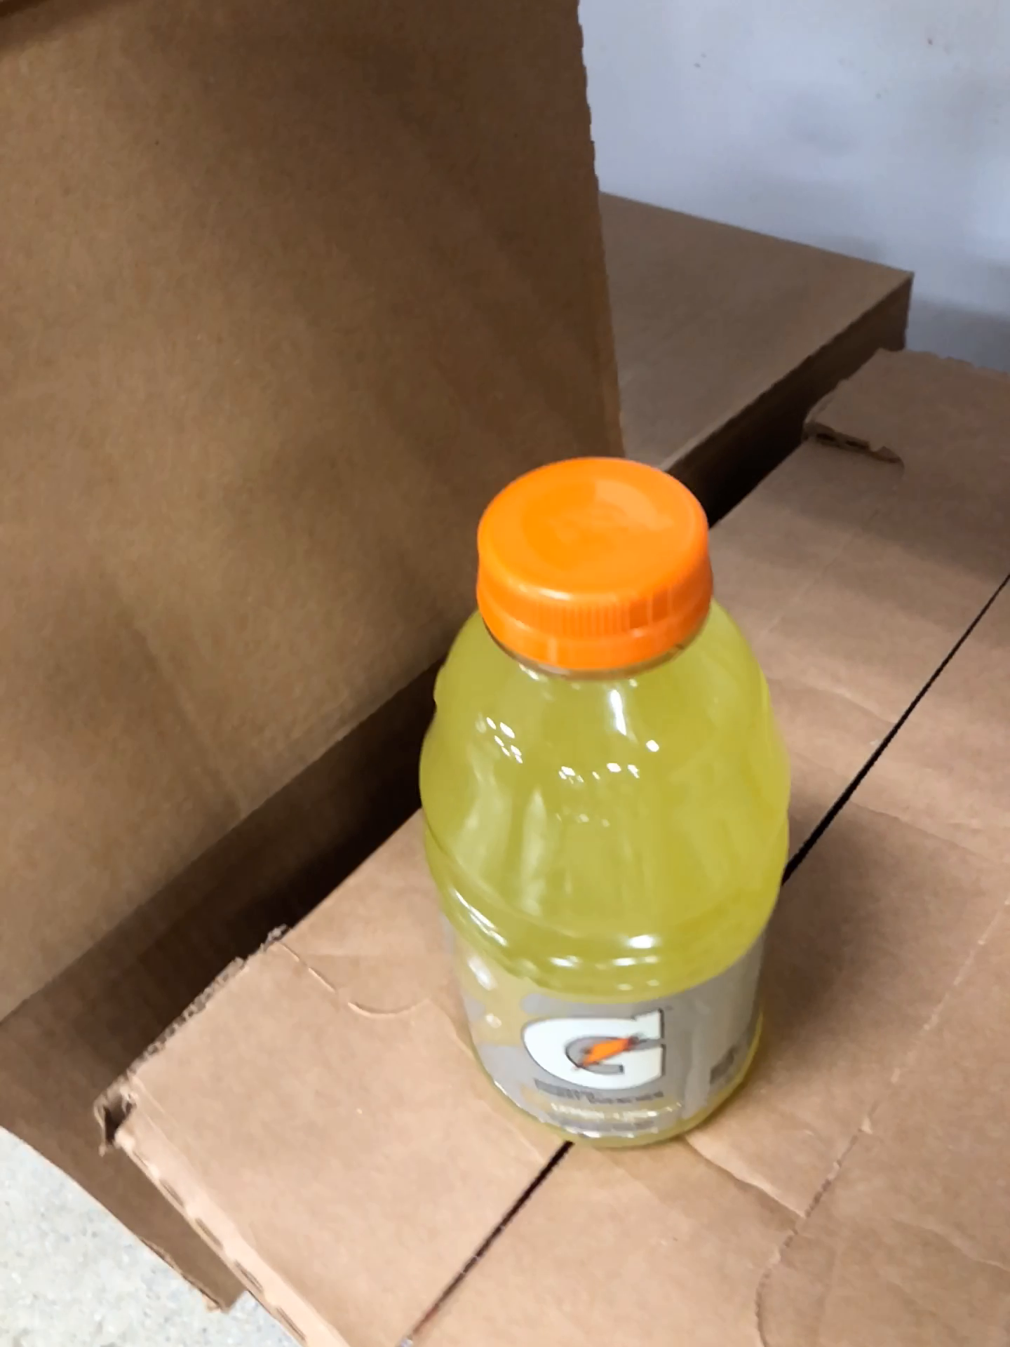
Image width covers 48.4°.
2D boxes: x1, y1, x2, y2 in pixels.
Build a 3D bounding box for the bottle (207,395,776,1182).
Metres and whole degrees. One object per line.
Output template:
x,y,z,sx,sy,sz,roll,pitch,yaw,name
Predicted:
0.017,0.044,0.298,0.100,0.209,0.090,1,47,13,bottle
